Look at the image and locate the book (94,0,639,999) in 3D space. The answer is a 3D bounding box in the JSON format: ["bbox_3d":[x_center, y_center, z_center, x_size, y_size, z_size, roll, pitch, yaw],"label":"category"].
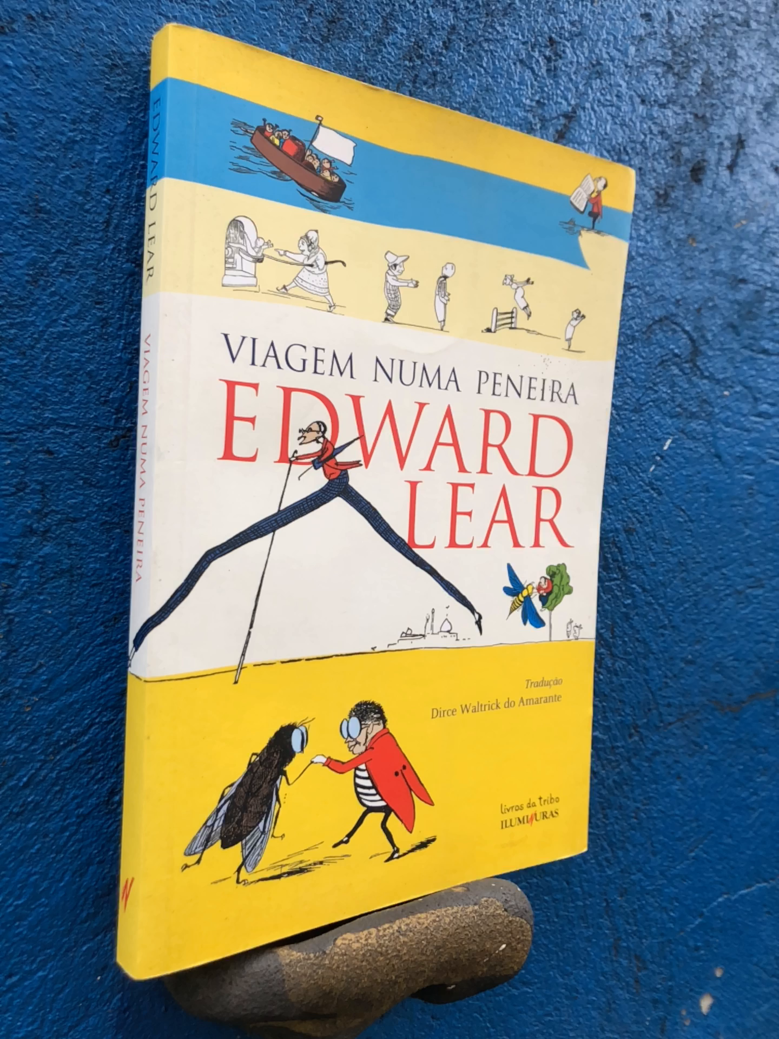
[{"bbox_3d":[0.004,-0.003,0.245,0.158,0.220,0.021,2,2,-36],"label":"book"}]
